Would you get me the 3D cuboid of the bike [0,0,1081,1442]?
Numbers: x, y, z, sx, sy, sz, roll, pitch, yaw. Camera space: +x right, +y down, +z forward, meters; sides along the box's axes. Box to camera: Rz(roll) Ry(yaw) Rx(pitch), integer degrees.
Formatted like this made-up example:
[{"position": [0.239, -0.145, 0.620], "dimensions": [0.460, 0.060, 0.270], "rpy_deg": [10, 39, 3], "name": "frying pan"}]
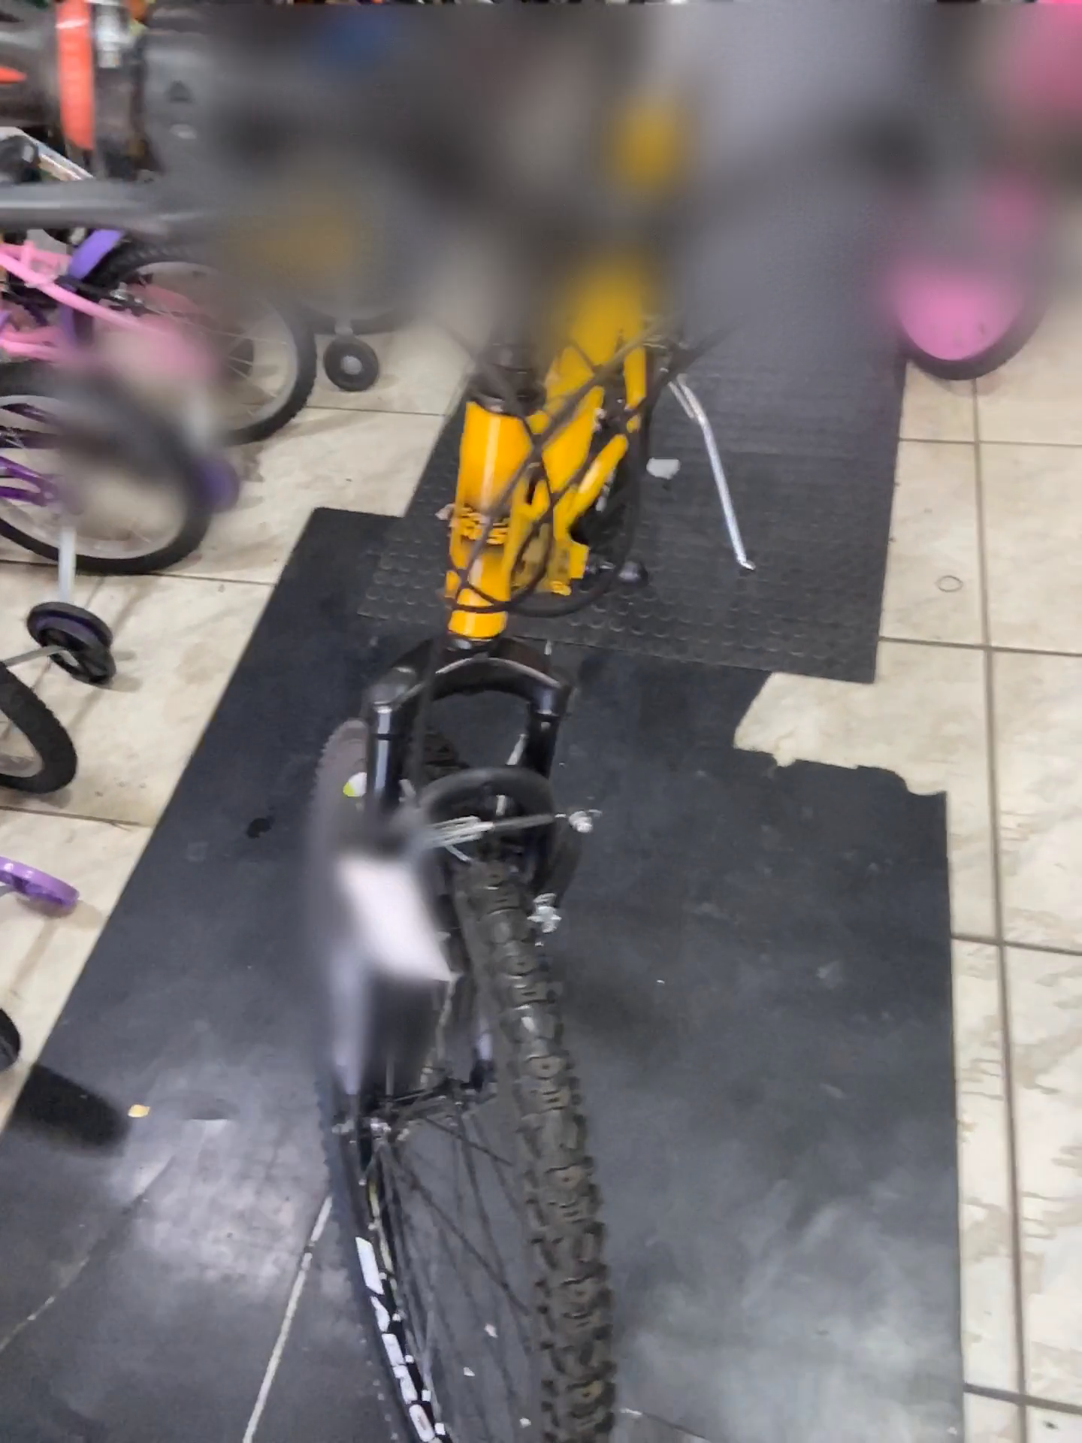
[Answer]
[{"position": [0.042, -0.268, 0.918], "dimensions": [0.475, 0.987, 1.528], "rpy_deg": [1, 49, 9], "name": "bike"}]
